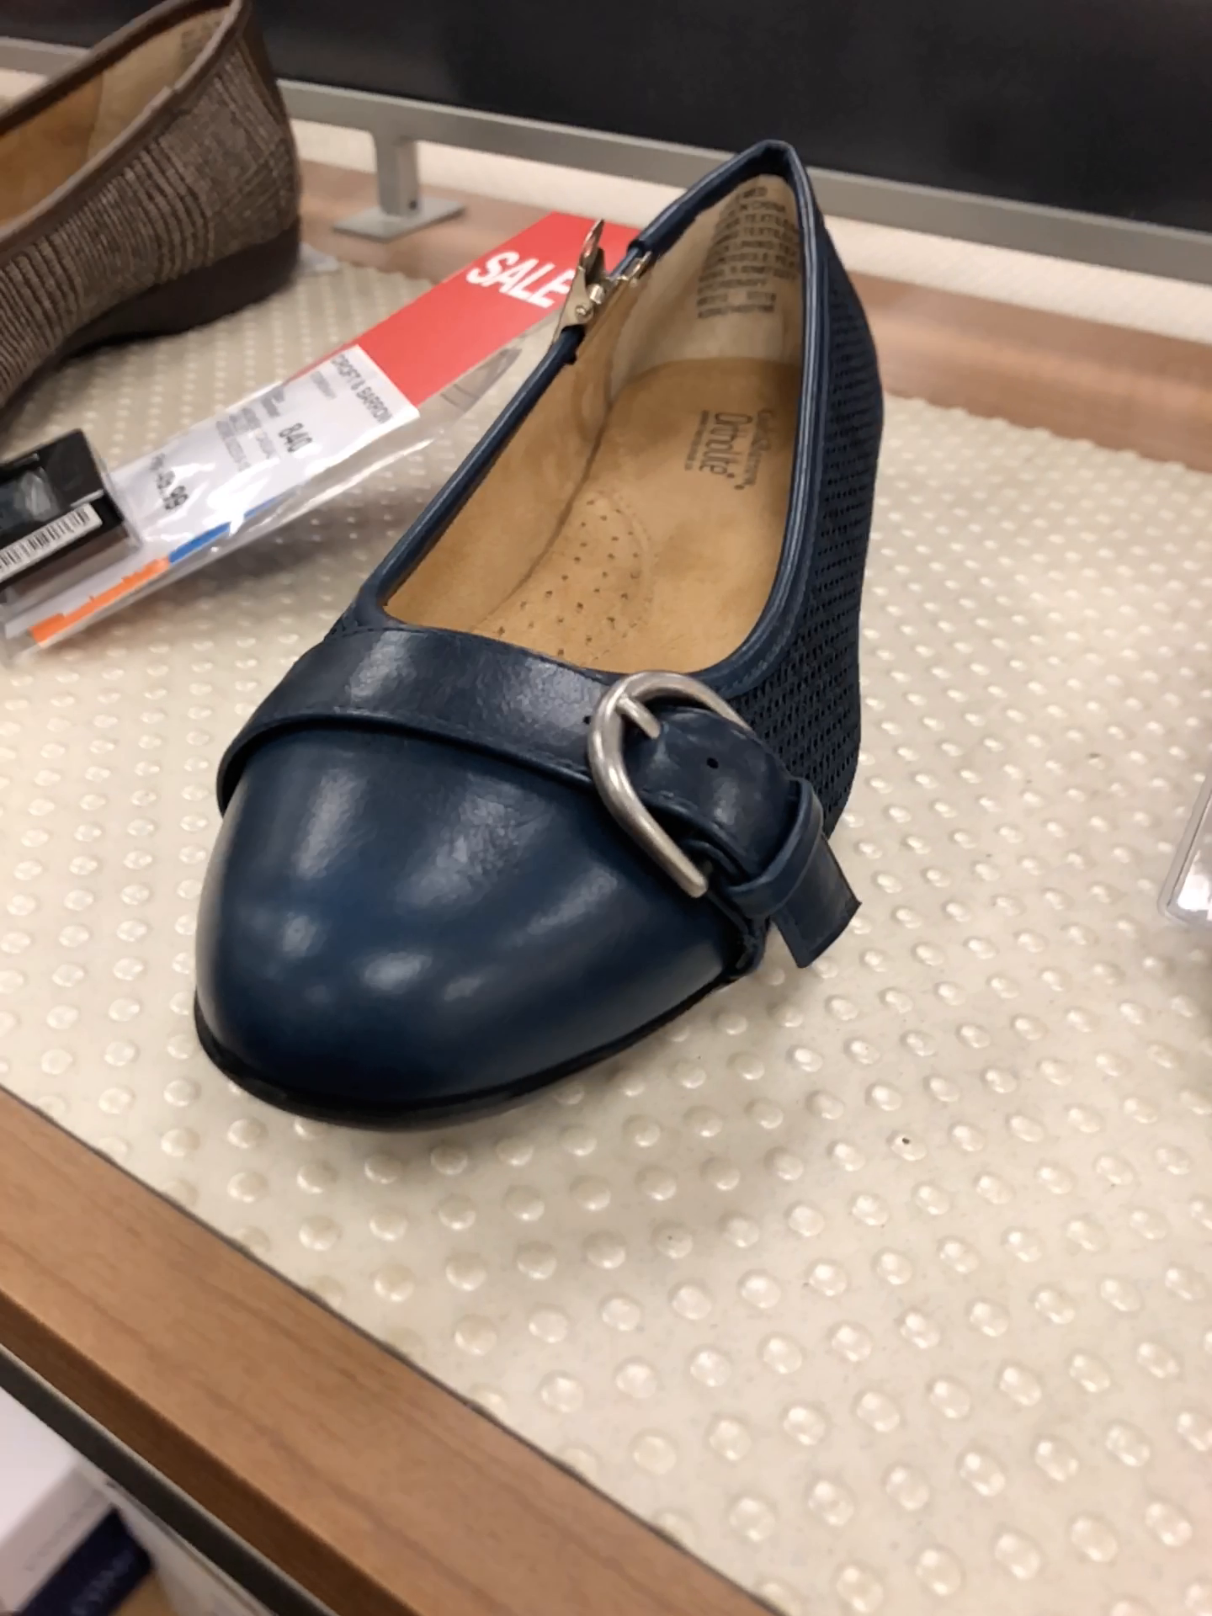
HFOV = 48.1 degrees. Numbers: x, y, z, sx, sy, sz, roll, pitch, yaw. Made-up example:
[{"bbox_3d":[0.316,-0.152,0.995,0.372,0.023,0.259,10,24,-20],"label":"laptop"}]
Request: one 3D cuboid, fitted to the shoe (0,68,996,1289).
[{"bbox_3d":[0.016,-0.065,0.251,0.088,0.081,0.280,10,38,11],"label":"shoe"}]
